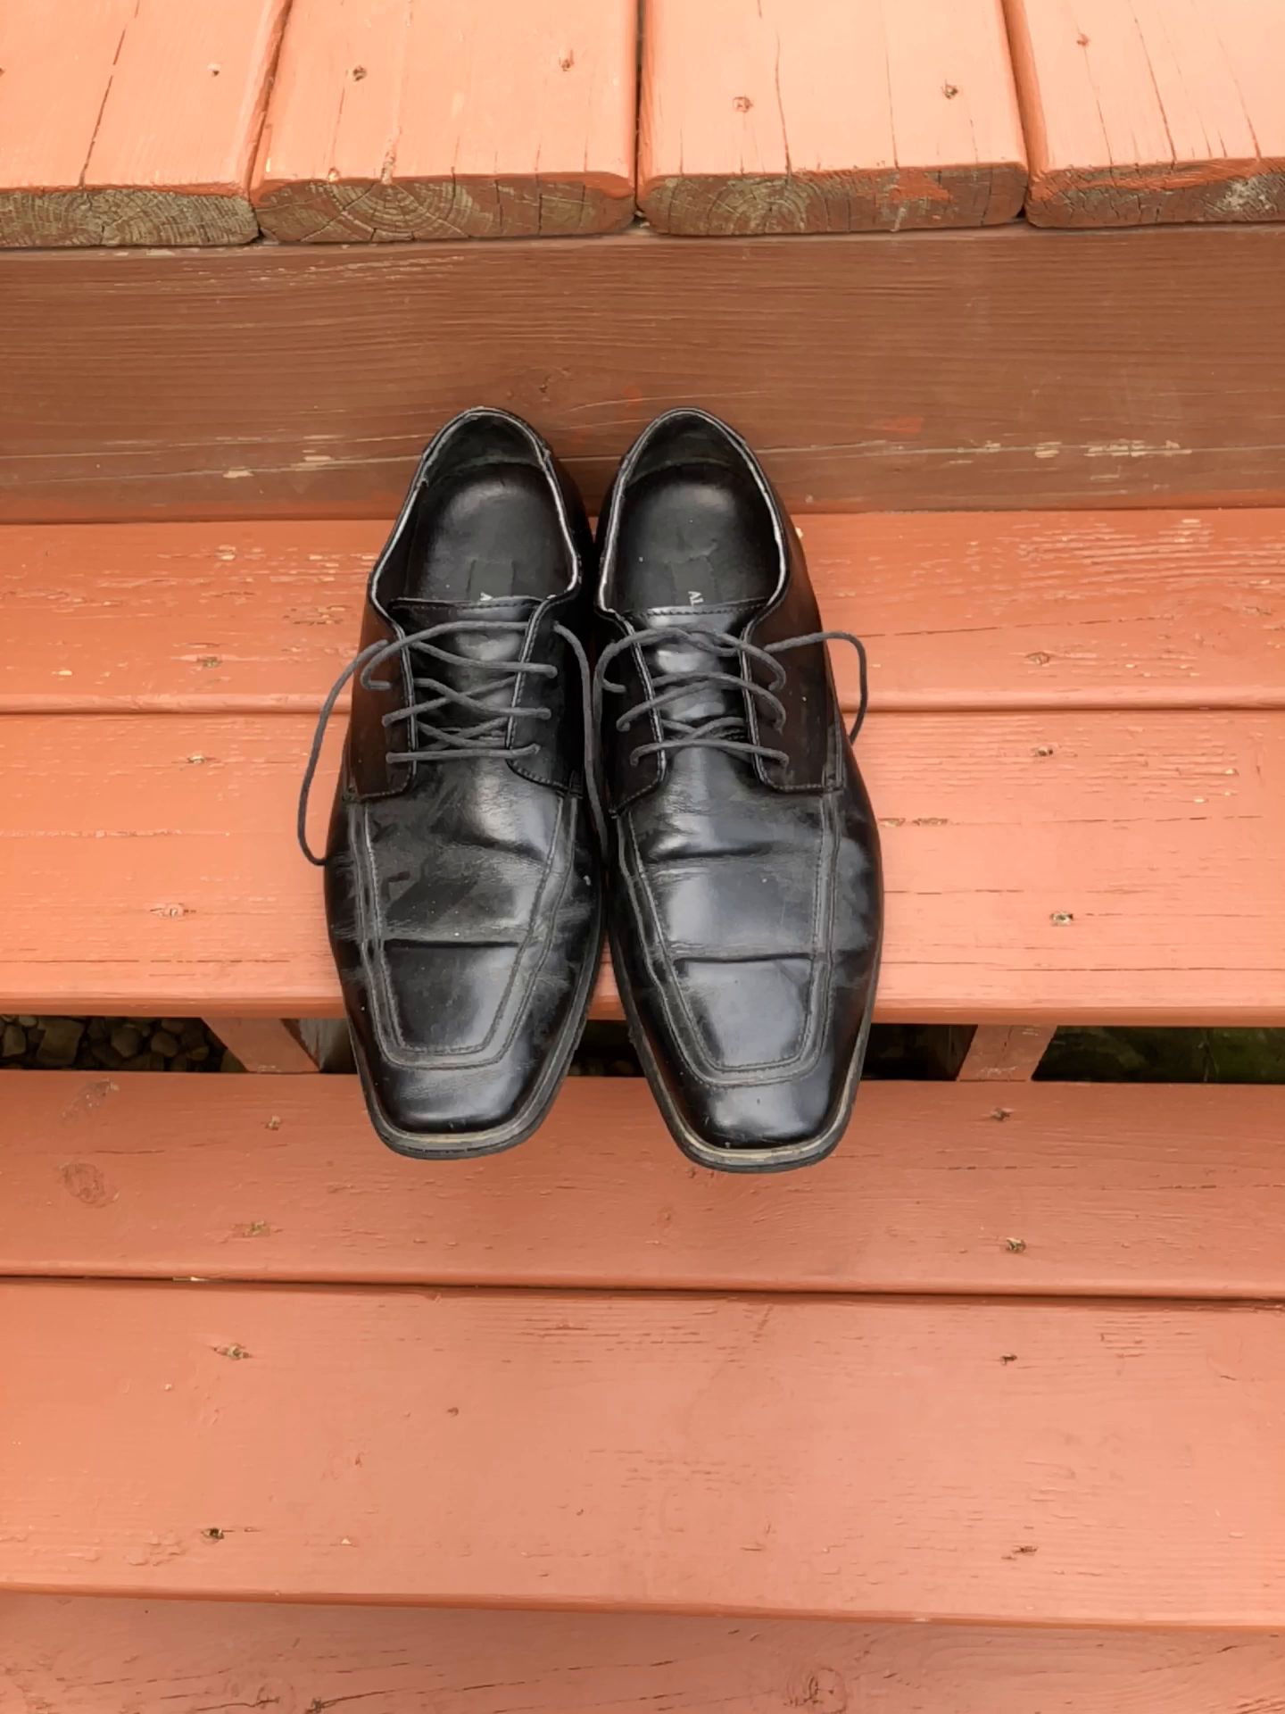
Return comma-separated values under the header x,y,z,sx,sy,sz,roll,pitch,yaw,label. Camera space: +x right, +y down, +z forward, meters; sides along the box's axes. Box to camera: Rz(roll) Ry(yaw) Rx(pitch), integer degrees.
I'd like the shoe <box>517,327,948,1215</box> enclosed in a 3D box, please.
x,y,z,sx,sy,sz,roll,pitch,yaw,label
0.023,-0.042,0.558,0.130,0.110,0.331,-4,62,2,shoe

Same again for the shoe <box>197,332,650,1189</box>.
x,y,z,sx,sy,sz,roll,pitch,yaw,label
-0.068,-0.046,0.569,0.130,0.110,0.331,0,63,3,shoe
